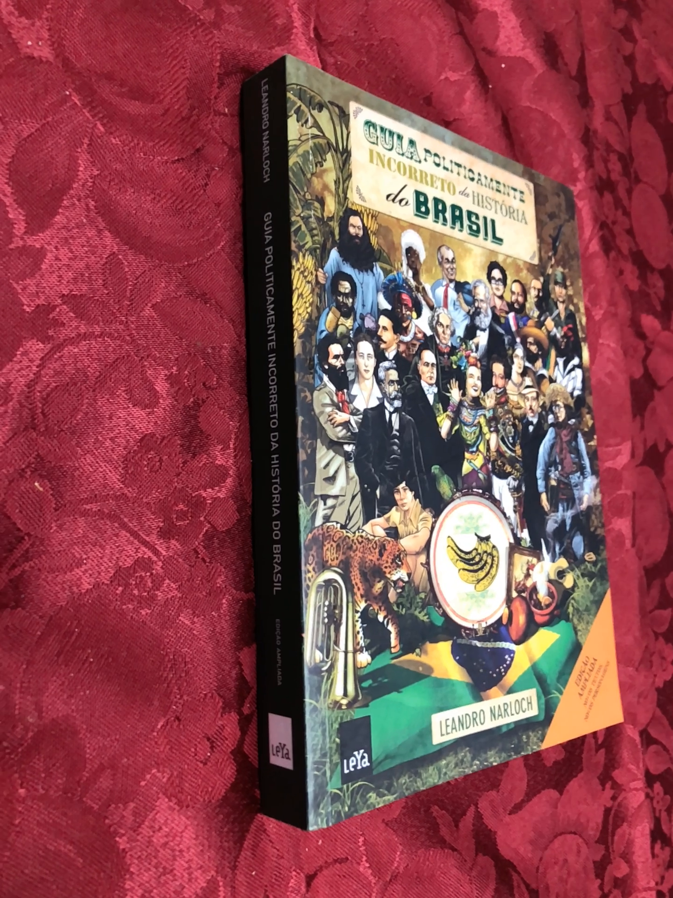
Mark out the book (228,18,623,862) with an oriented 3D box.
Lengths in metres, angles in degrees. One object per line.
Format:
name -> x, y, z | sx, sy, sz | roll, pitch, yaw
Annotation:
book -> 0.041, -0.005, 0.266 | 0.161, 0.030, 0.230 | 1, 85, -40
